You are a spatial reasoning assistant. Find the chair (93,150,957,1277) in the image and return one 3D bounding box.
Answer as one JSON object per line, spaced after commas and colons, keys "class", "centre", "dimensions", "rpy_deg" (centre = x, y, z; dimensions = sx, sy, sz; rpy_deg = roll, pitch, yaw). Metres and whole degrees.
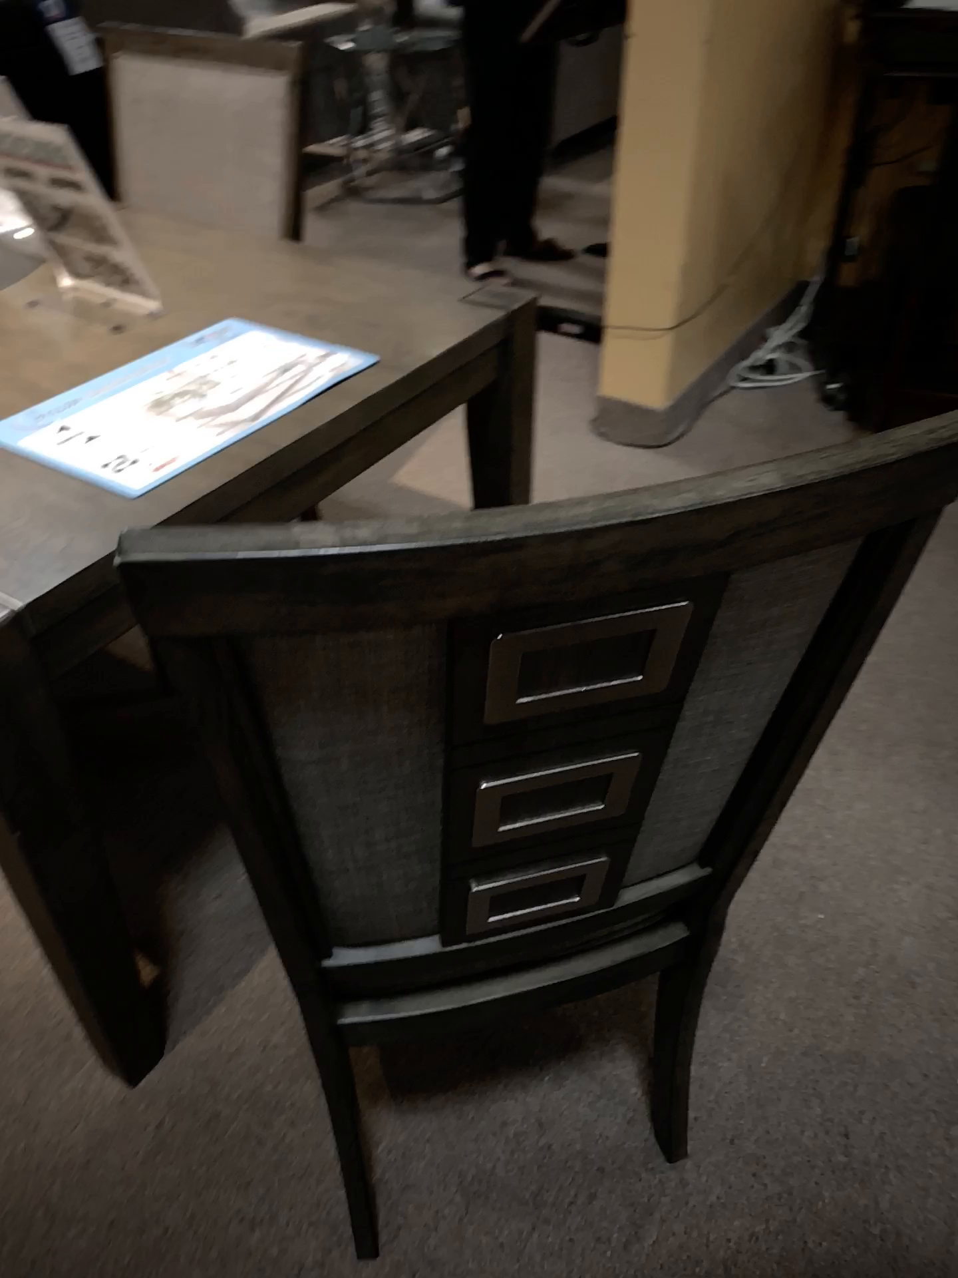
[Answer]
{"class": "chair", "centre": [-0.012, 0.121, 1.035], "dimensions": [0.514, 0.997, 0.645], "rpy_deg": [-11, 40, -13]}
